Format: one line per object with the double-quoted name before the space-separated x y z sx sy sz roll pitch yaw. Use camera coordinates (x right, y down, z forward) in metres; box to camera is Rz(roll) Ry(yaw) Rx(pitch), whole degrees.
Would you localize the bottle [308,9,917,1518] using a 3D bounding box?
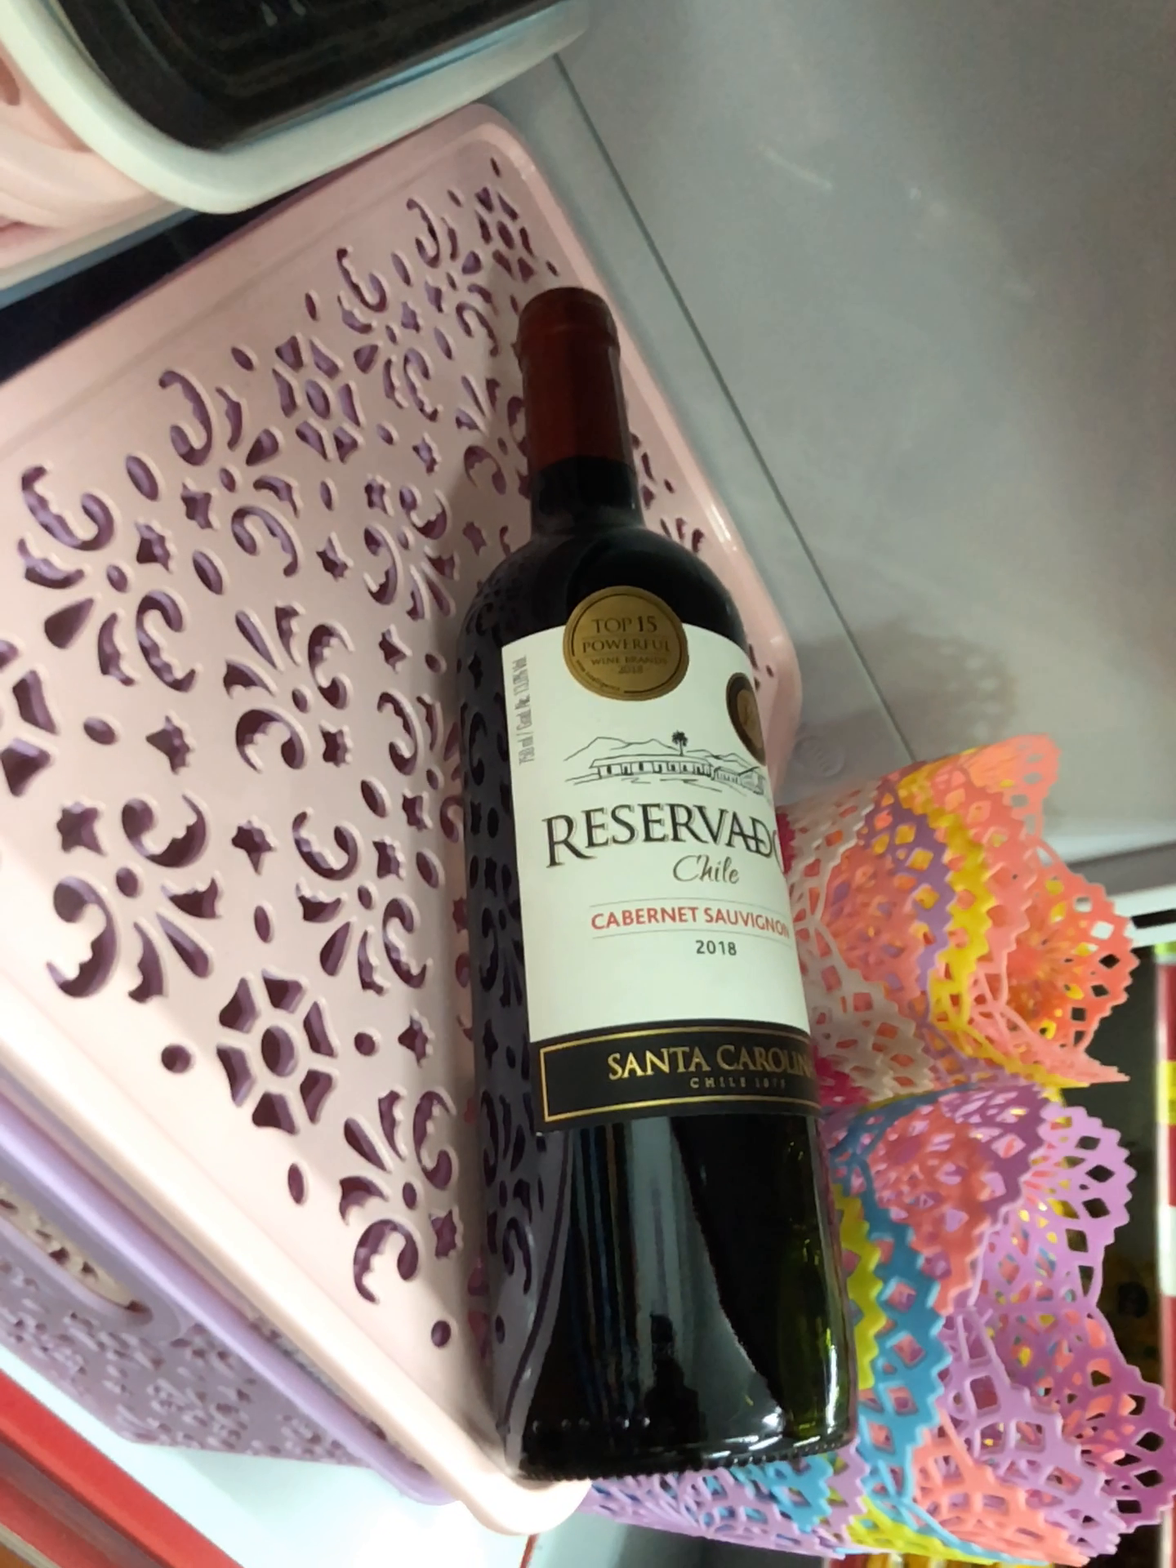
"bottle" -0.007 -0.026 0.303 0.080 0.060 0.330 25 49 -50
